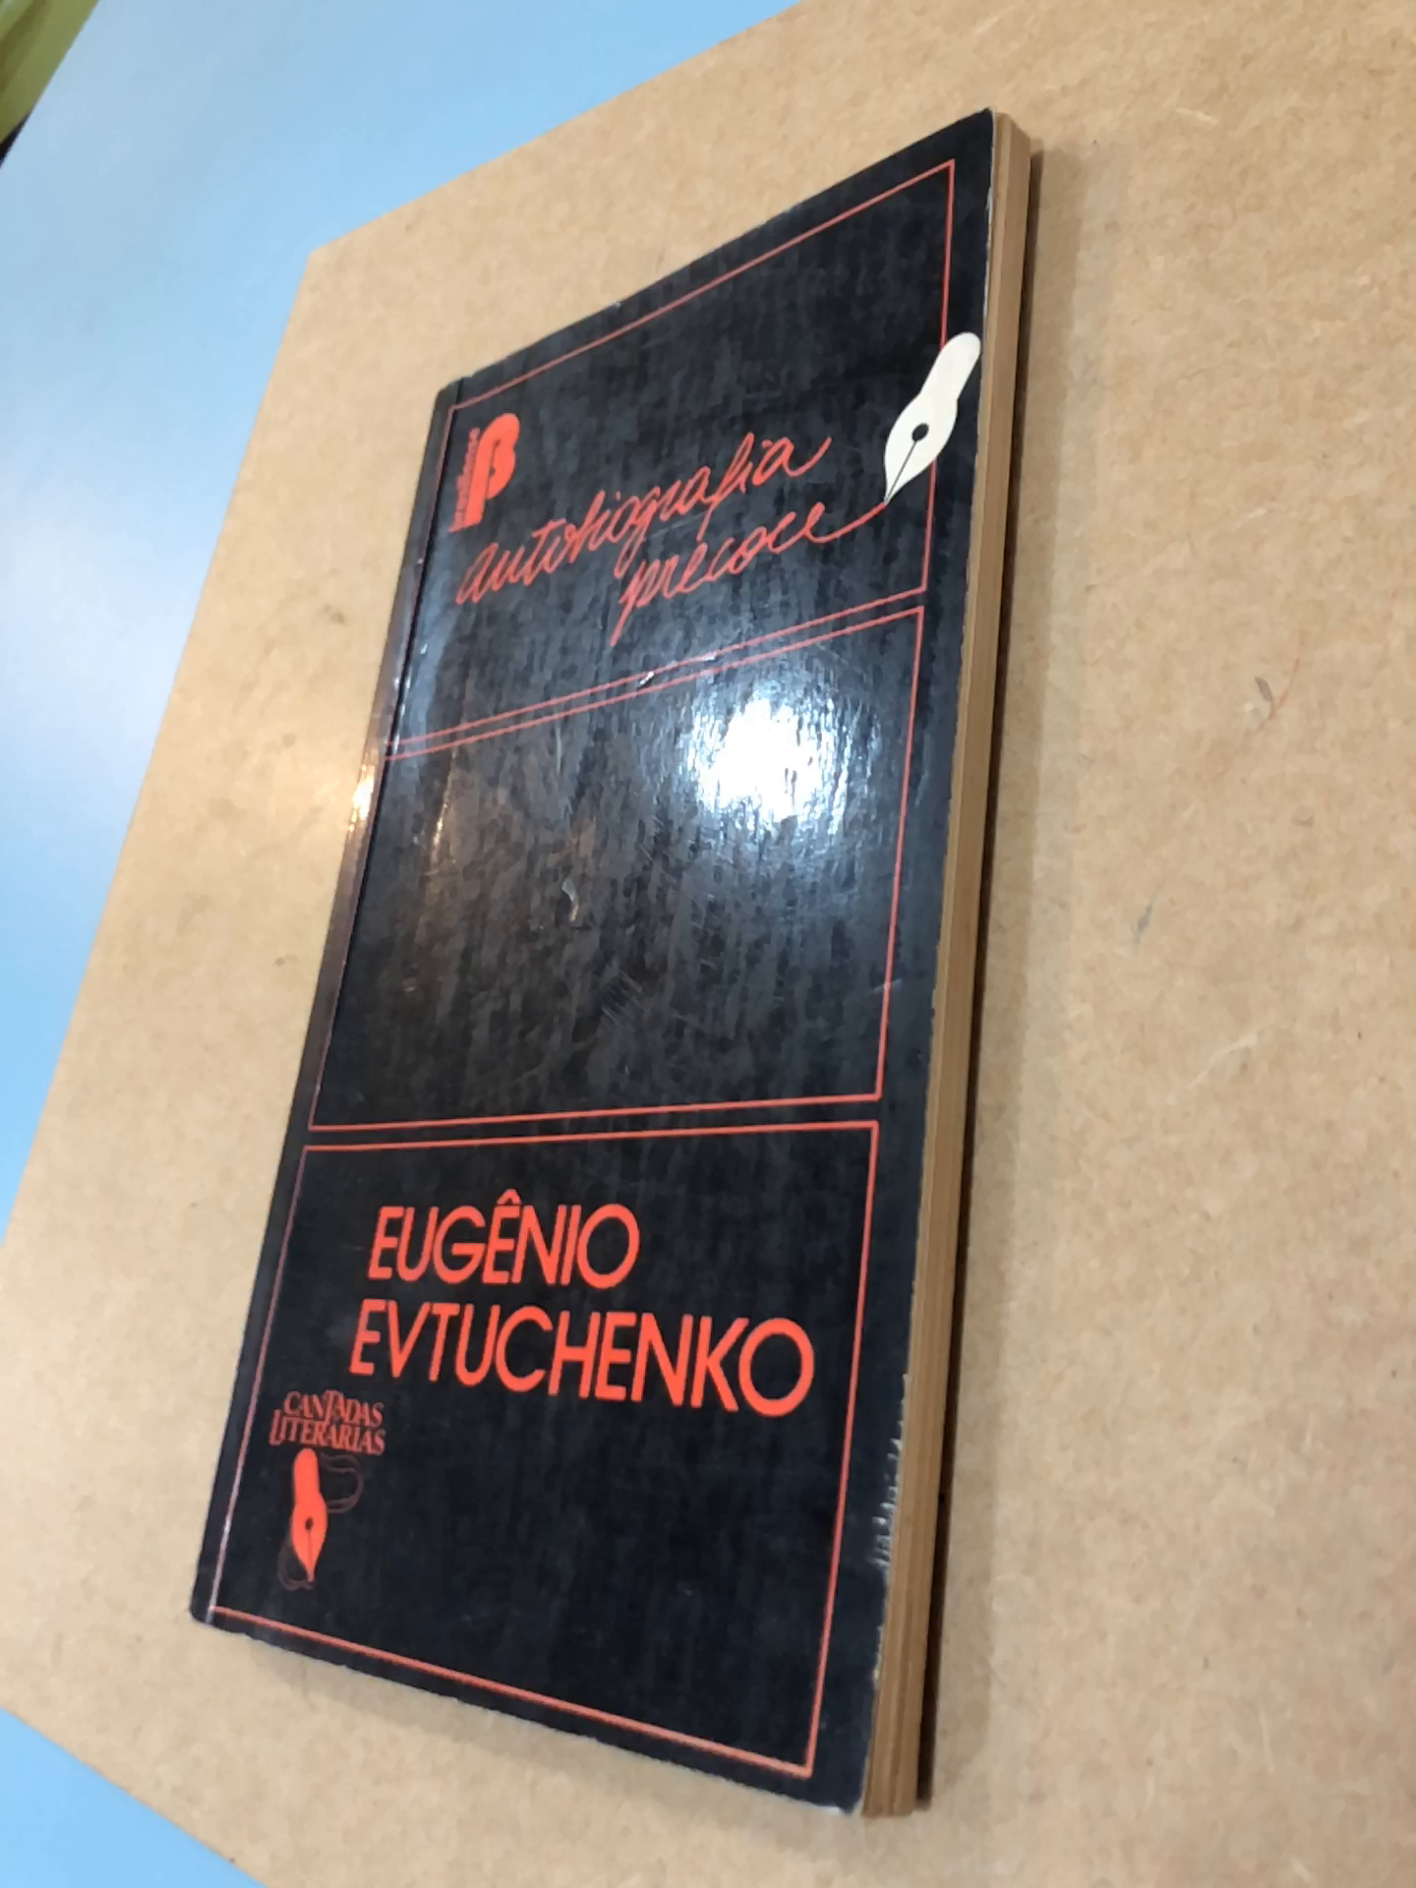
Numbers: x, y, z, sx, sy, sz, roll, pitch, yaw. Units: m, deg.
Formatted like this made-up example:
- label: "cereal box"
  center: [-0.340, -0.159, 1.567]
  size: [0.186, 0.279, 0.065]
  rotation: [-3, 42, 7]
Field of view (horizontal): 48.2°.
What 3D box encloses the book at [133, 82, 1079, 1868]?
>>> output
- label: "book"
  center: [-0.014, -0.005, 0.202]
  size: [0.114, 0.016, 0.190]
  rotation: [-8, 66, 41]
